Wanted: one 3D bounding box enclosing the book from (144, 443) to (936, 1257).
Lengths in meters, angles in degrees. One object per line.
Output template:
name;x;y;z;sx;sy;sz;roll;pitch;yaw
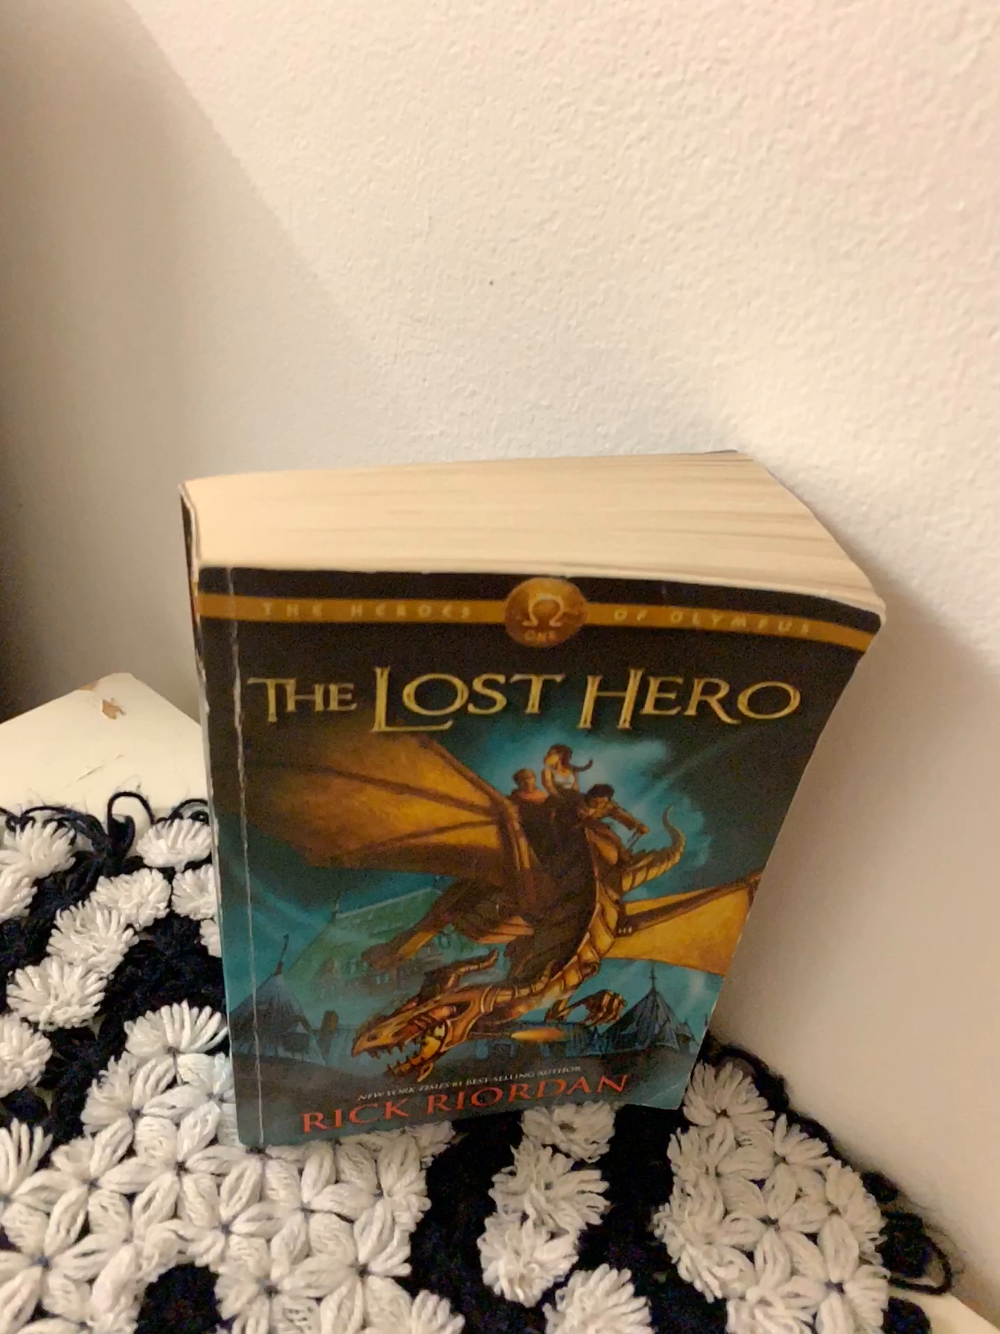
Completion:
book;-0.003;0.044;0.249;0.142;0.177;0.068;-3;32;-16
